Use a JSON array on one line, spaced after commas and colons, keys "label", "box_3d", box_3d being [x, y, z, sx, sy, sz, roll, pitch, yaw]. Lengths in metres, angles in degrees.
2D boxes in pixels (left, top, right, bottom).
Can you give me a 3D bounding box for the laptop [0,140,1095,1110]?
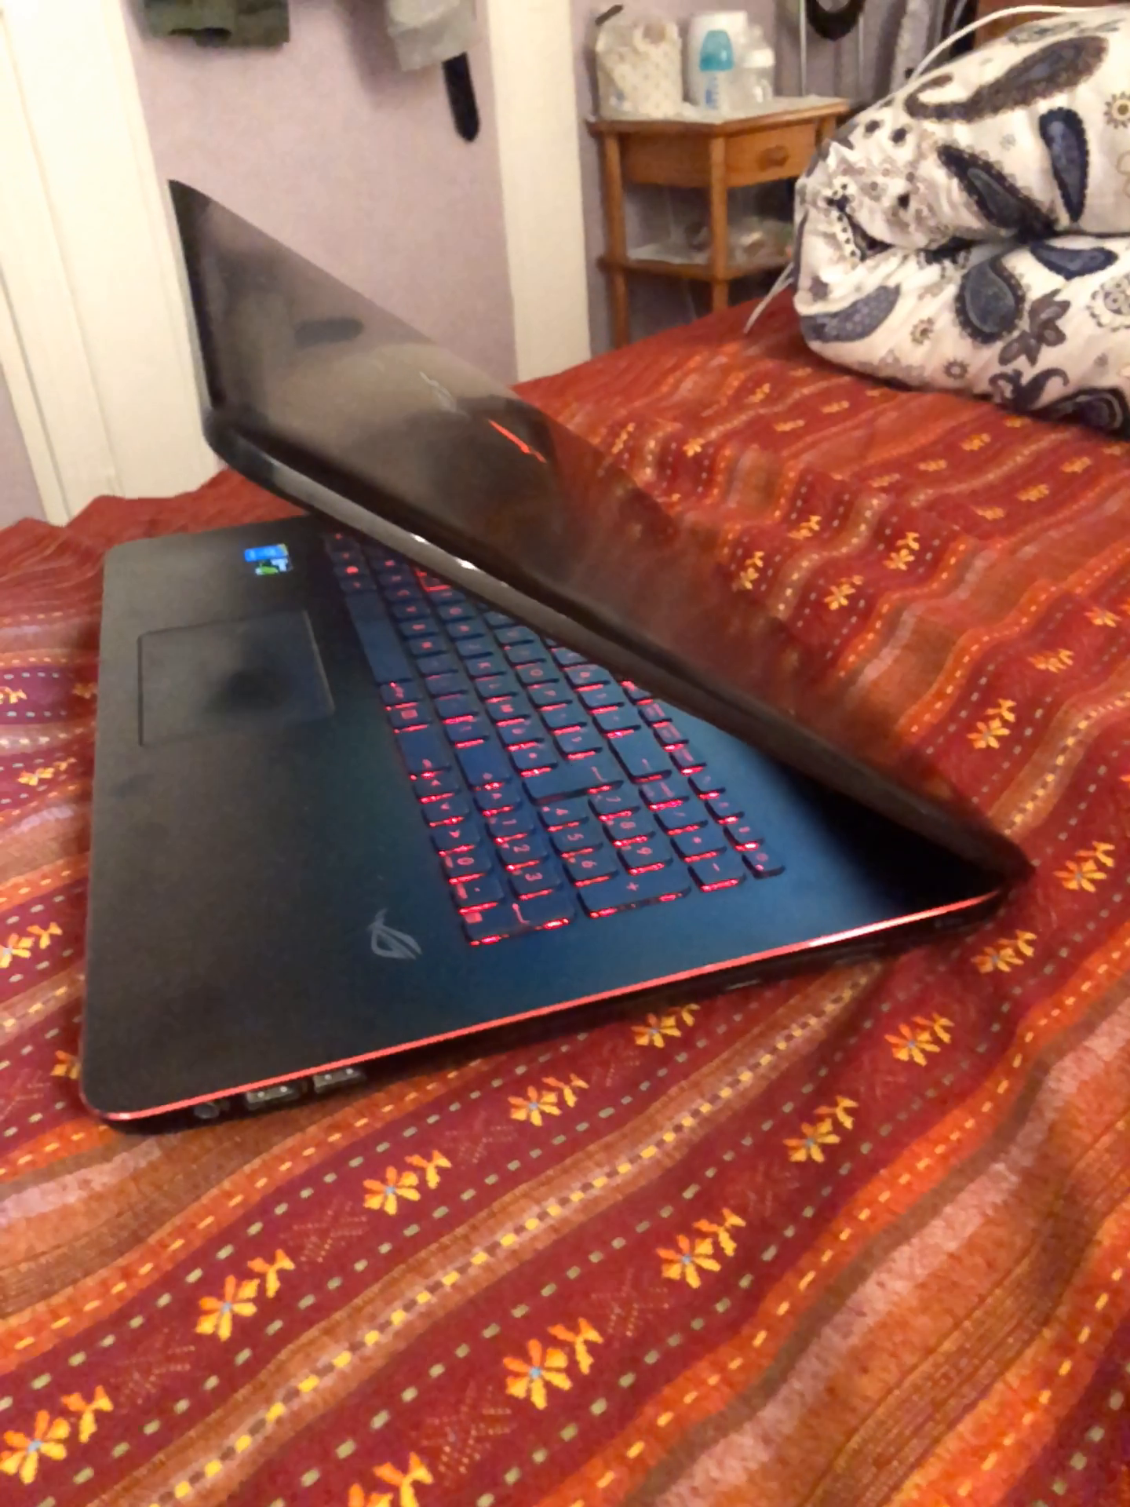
[{"label": "laptop", "box_3d": [-0.054, -0.107, 0.468, 0.267, 0.168, 0.400, -11, 33, -12]}]
